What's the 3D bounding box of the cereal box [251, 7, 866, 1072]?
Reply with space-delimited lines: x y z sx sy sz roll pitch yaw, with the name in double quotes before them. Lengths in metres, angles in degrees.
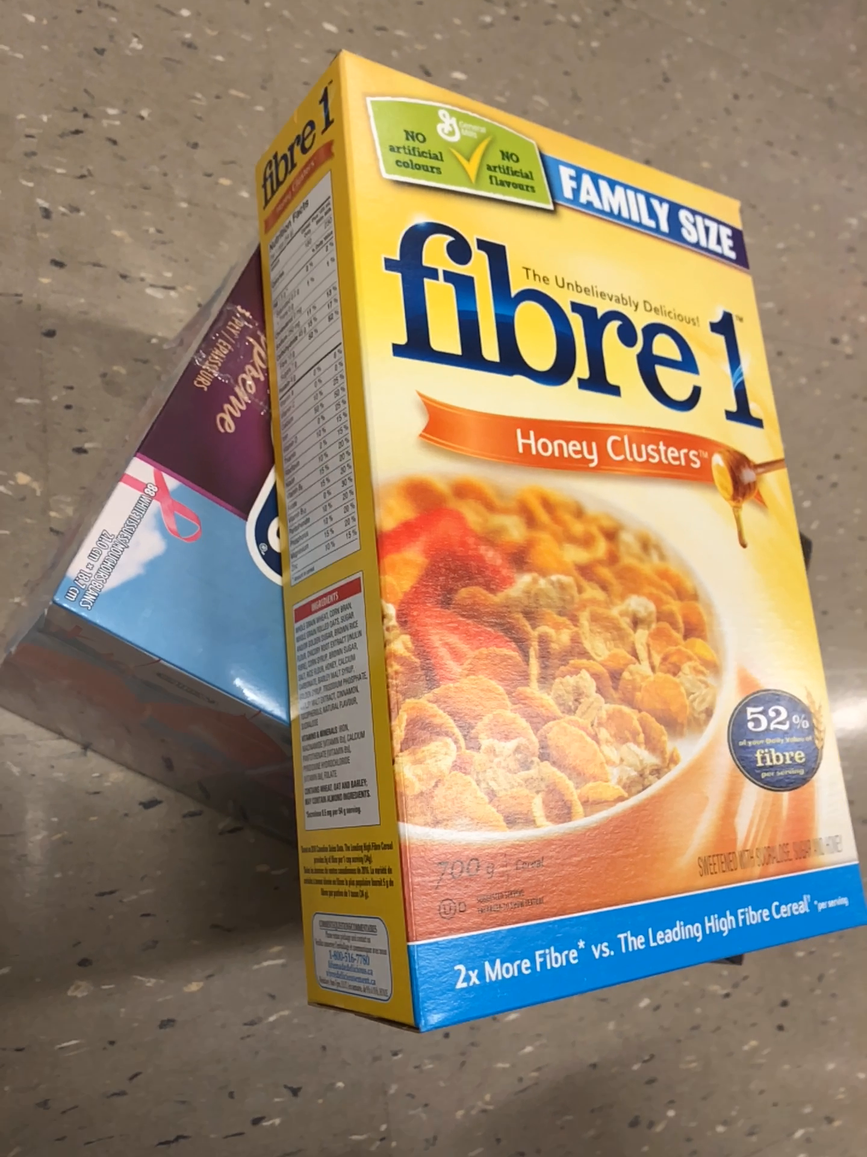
"cereal box" 0.051 -0.017 0.364 0.201 0.080 0.320 3 73 -33
